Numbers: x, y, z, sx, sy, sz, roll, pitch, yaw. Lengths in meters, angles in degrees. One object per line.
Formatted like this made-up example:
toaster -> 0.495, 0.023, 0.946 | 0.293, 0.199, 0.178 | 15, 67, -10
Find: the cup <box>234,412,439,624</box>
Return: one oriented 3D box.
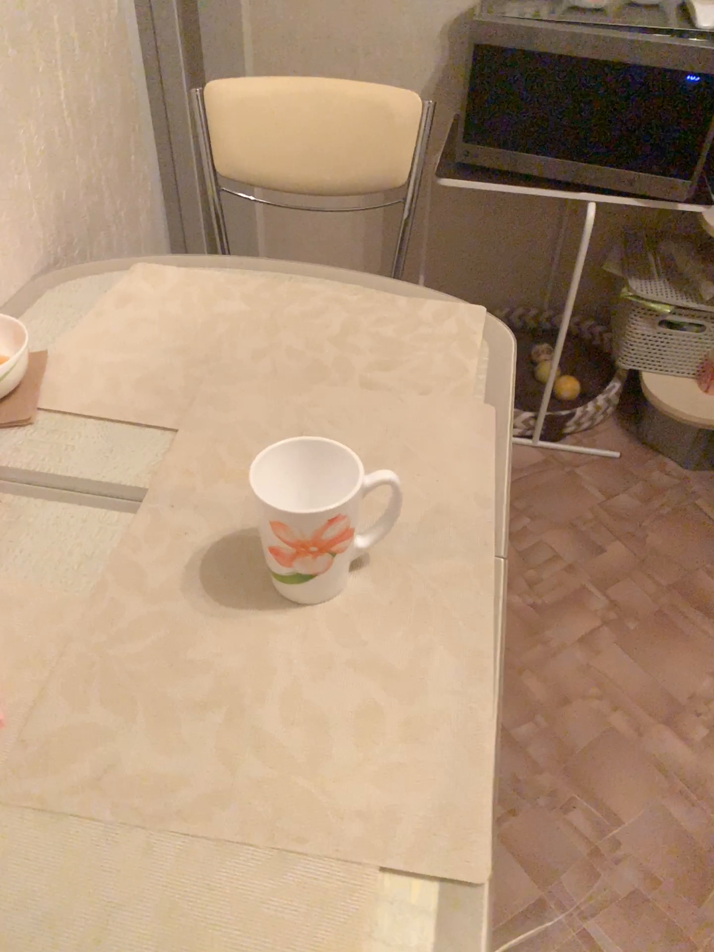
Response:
cup -> -0.017, 0.028, 0.518 | 0.119, 0.099, 0.084 | -11, 44, -13
